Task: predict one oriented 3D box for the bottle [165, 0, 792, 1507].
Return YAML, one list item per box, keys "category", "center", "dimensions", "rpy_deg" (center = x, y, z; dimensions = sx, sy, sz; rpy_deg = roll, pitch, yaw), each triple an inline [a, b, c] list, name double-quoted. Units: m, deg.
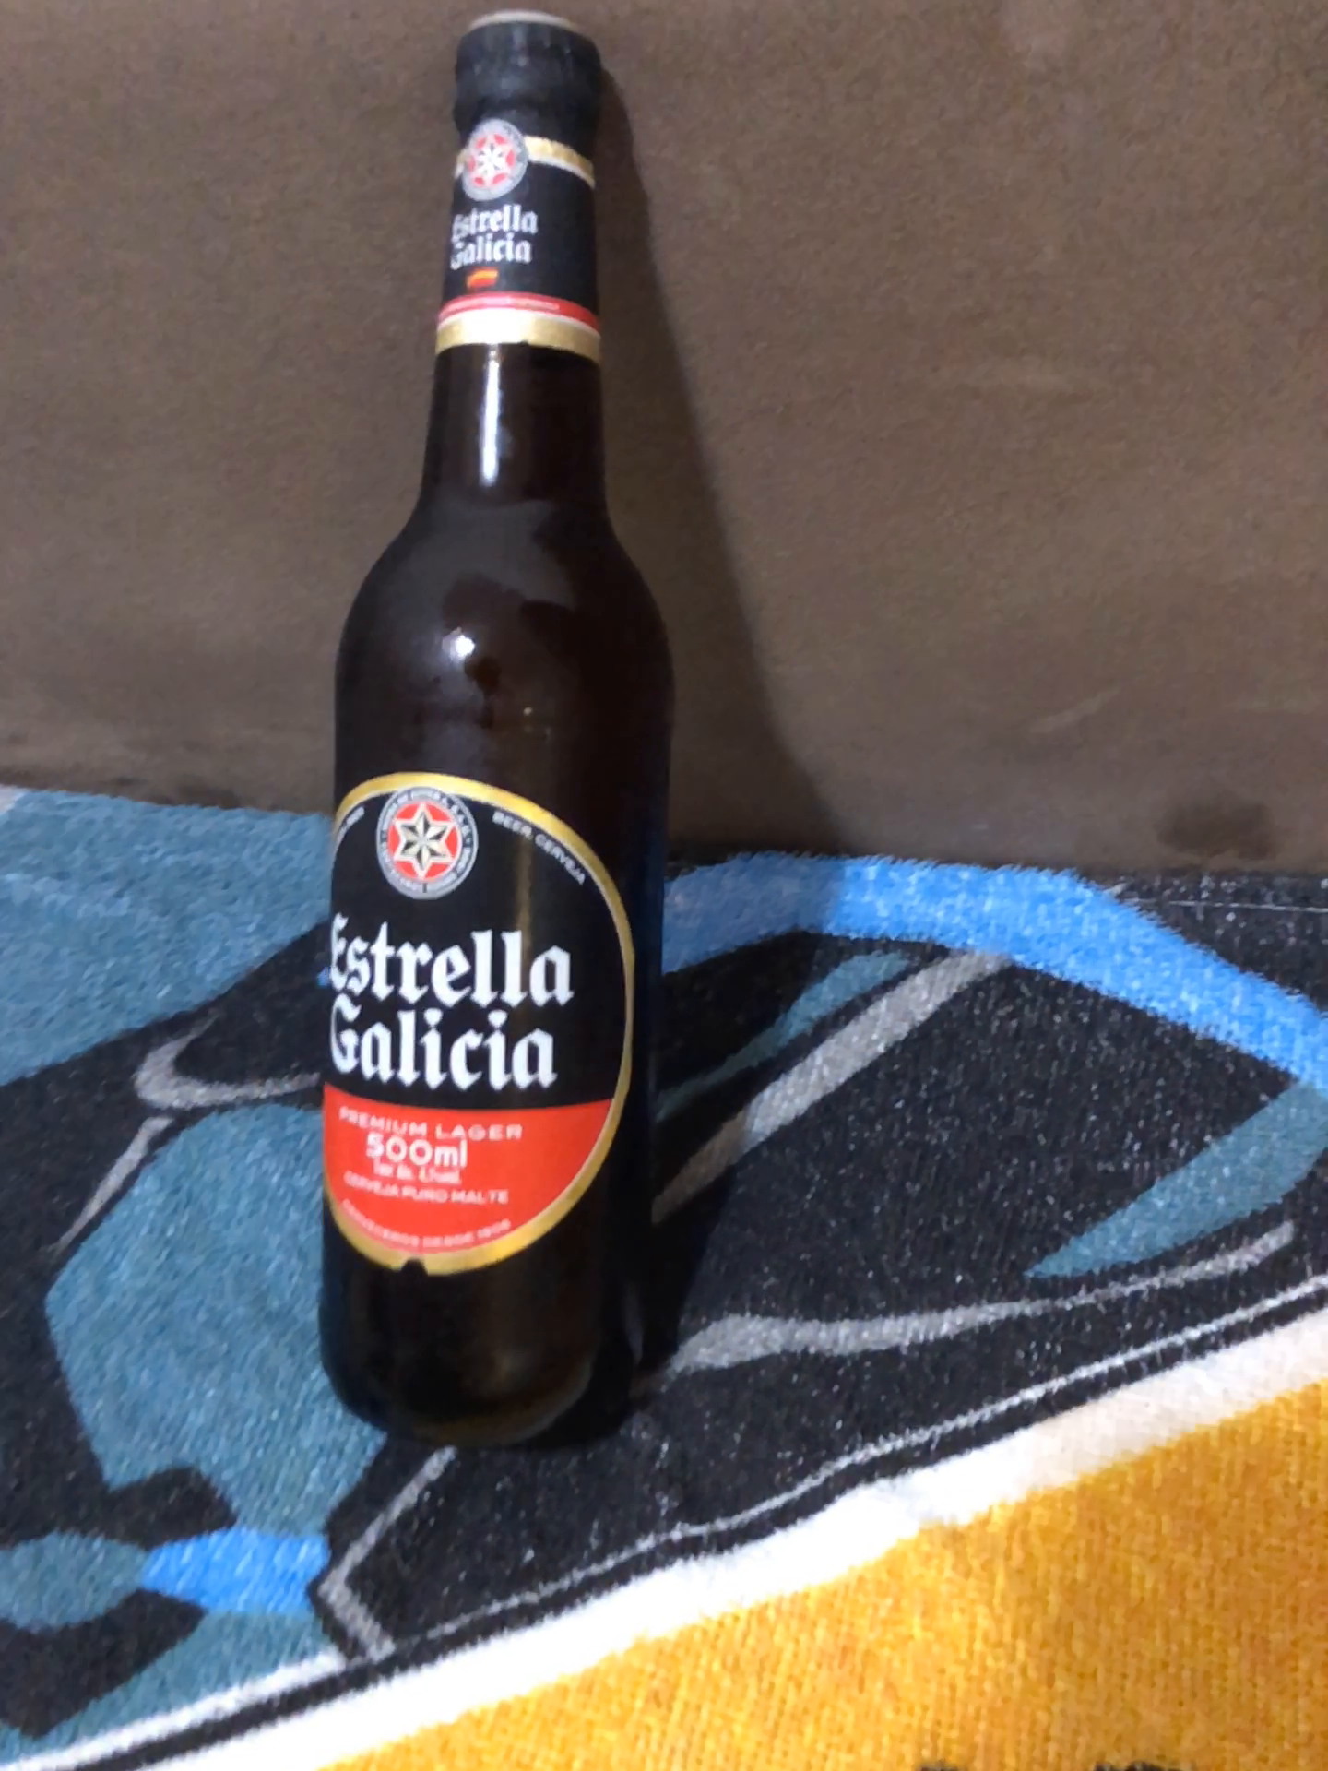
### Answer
- category: "bottle"
  center: [-0.034, -0.036, 0.288]
  dimensions: [0.080, 0.270, 0.080]
  rpy_deg: [3, 4, 0]
